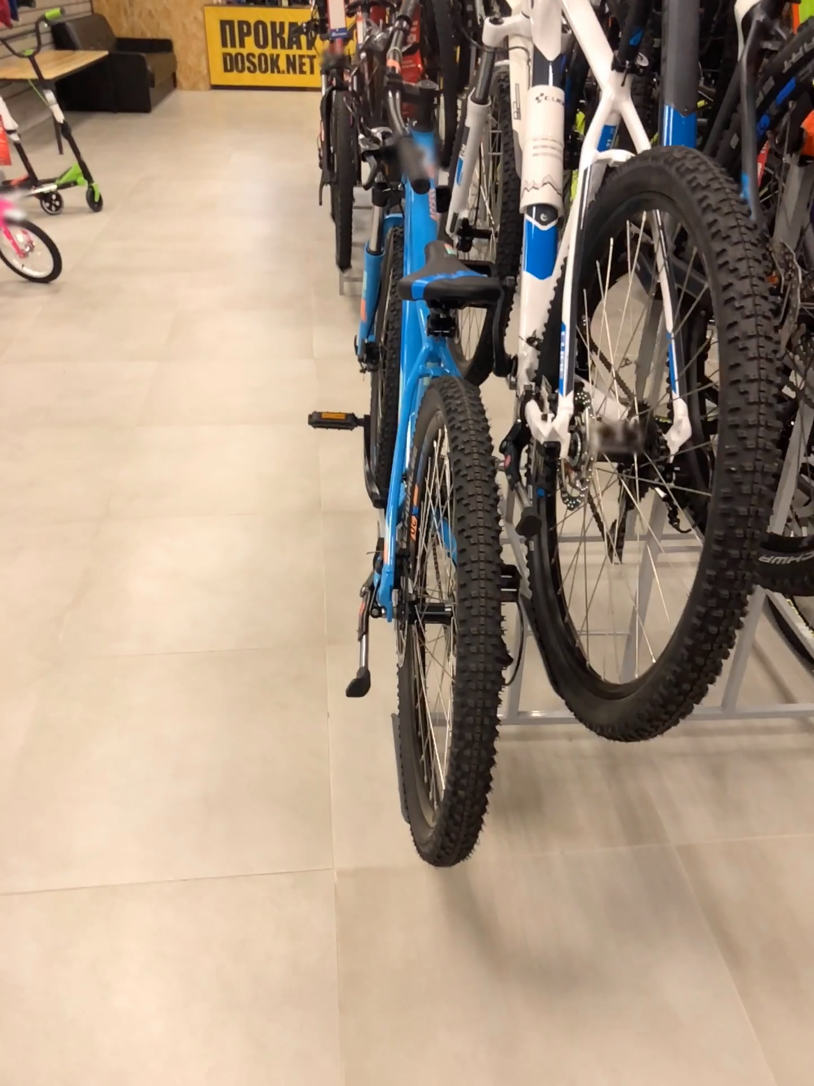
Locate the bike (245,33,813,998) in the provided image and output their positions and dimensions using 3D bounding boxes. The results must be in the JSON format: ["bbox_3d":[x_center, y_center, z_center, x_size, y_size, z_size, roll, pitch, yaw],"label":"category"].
[{"bbox_3d":[0.117,-0.322,1.677,0.630,1.082,1.711,-1,31,-5],"label":"bike"}]
